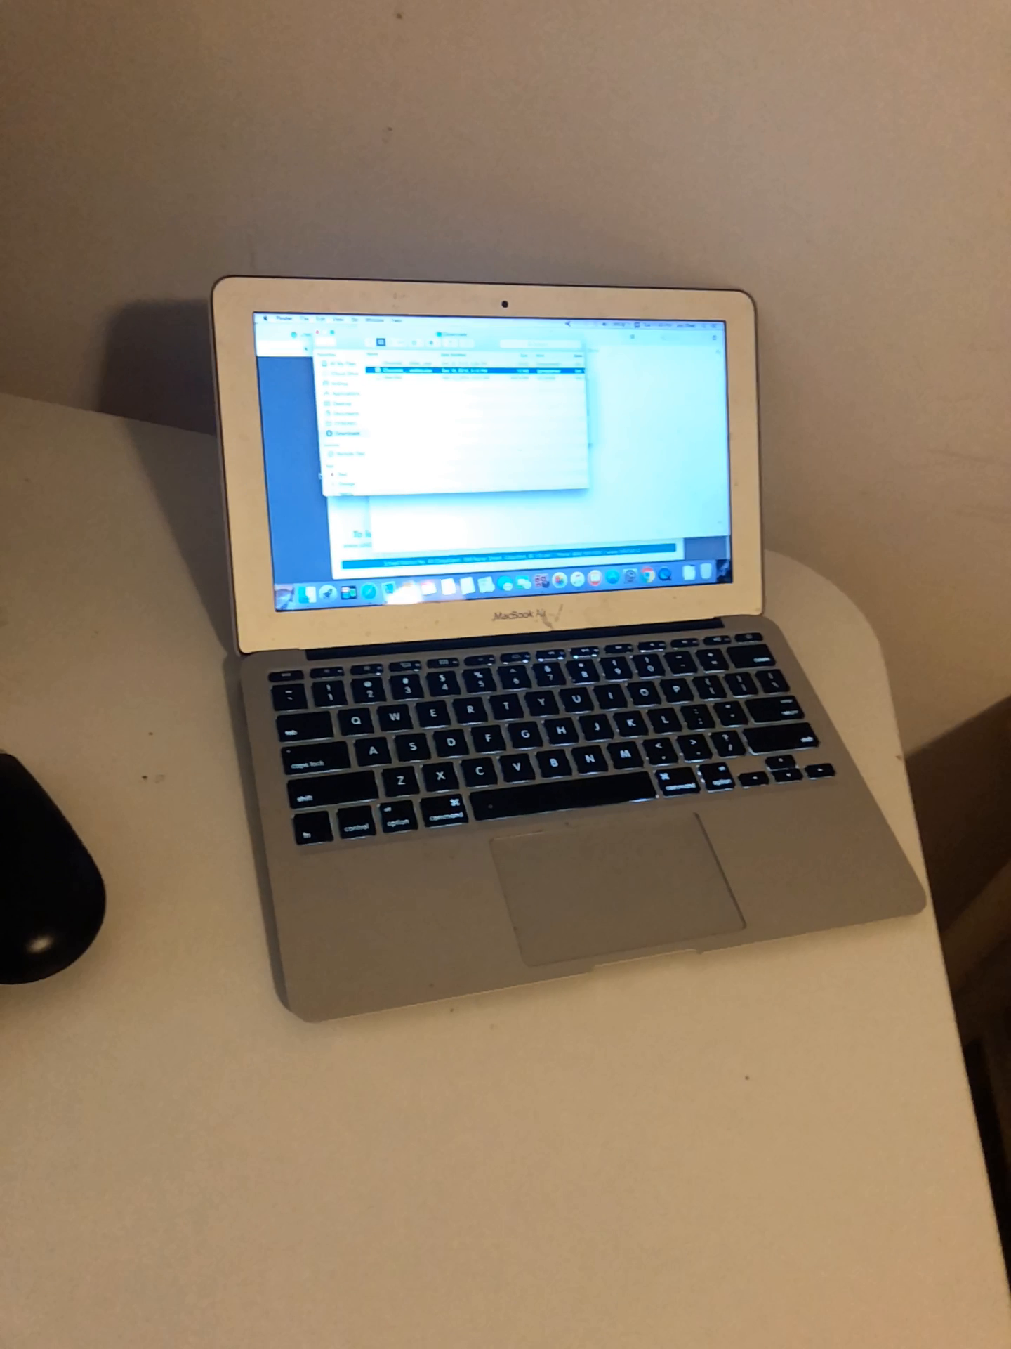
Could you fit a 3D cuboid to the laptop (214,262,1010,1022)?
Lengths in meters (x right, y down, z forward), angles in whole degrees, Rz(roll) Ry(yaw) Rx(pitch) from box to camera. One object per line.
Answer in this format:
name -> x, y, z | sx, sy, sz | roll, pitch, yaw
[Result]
laptop -> 0.028, -0.043, 0.506 | 0.280, 0.126, 0.306 | -6, 51, -18
